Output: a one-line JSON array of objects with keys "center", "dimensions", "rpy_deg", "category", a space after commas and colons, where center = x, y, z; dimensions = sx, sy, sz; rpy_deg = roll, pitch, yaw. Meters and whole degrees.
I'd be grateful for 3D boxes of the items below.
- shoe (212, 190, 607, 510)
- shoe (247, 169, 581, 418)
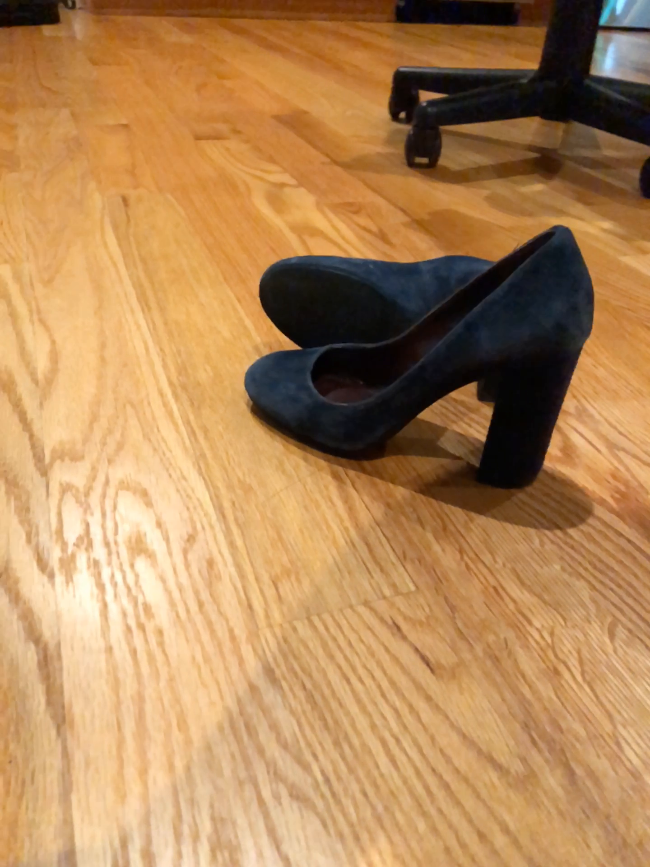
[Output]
[{"center": [0.045, -0.053, 0.421], "dimensions": [0.195, 0.128, 0.090], "rpy_deg": [11, 36, 11], "category": "shoe"}, {"center": [0.067, -0.108, 0.519], "dimensions": [0.205, 0.089, 0.140], "rpy_deg": [12, 43, 11], "category": "shoe"}]
